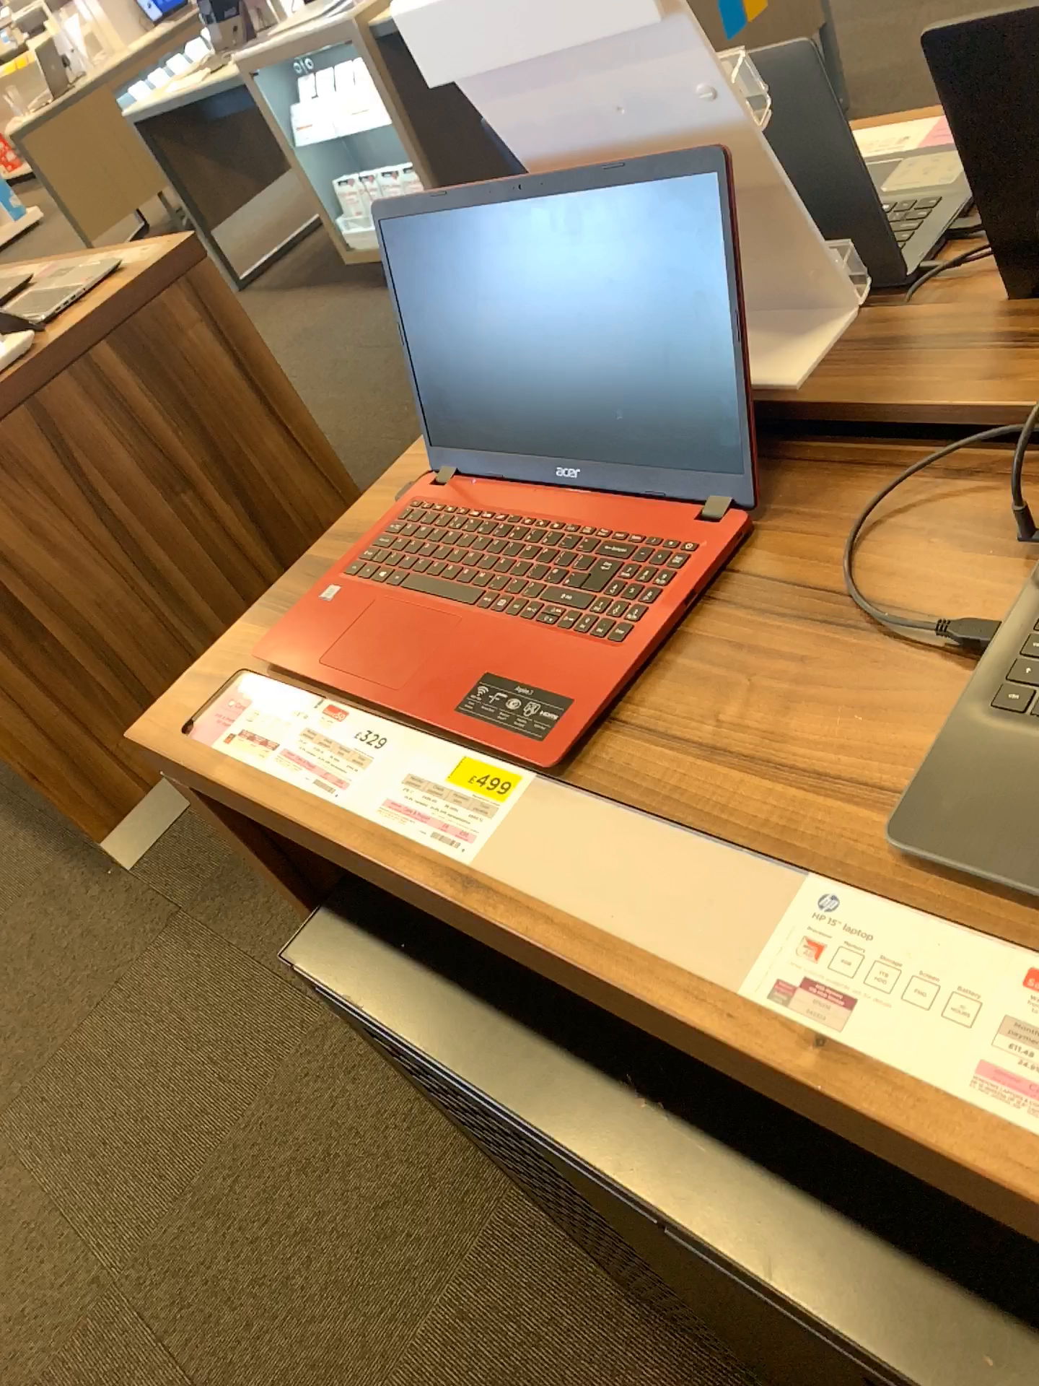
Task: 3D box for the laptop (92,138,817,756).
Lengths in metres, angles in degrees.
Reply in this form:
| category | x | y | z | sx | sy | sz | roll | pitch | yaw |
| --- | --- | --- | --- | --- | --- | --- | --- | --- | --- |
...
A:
| category | x | y | z | sx | sy | sz | roll | pitch | yaw |
| --- | --- | --- | --- | --- | --- | --- | --- | --- | --- |
| laptop | -0.046 | -0.187 | 0.769 | 0.358 | 0.213 | 0.322 | 17 | 59 | 44 |
